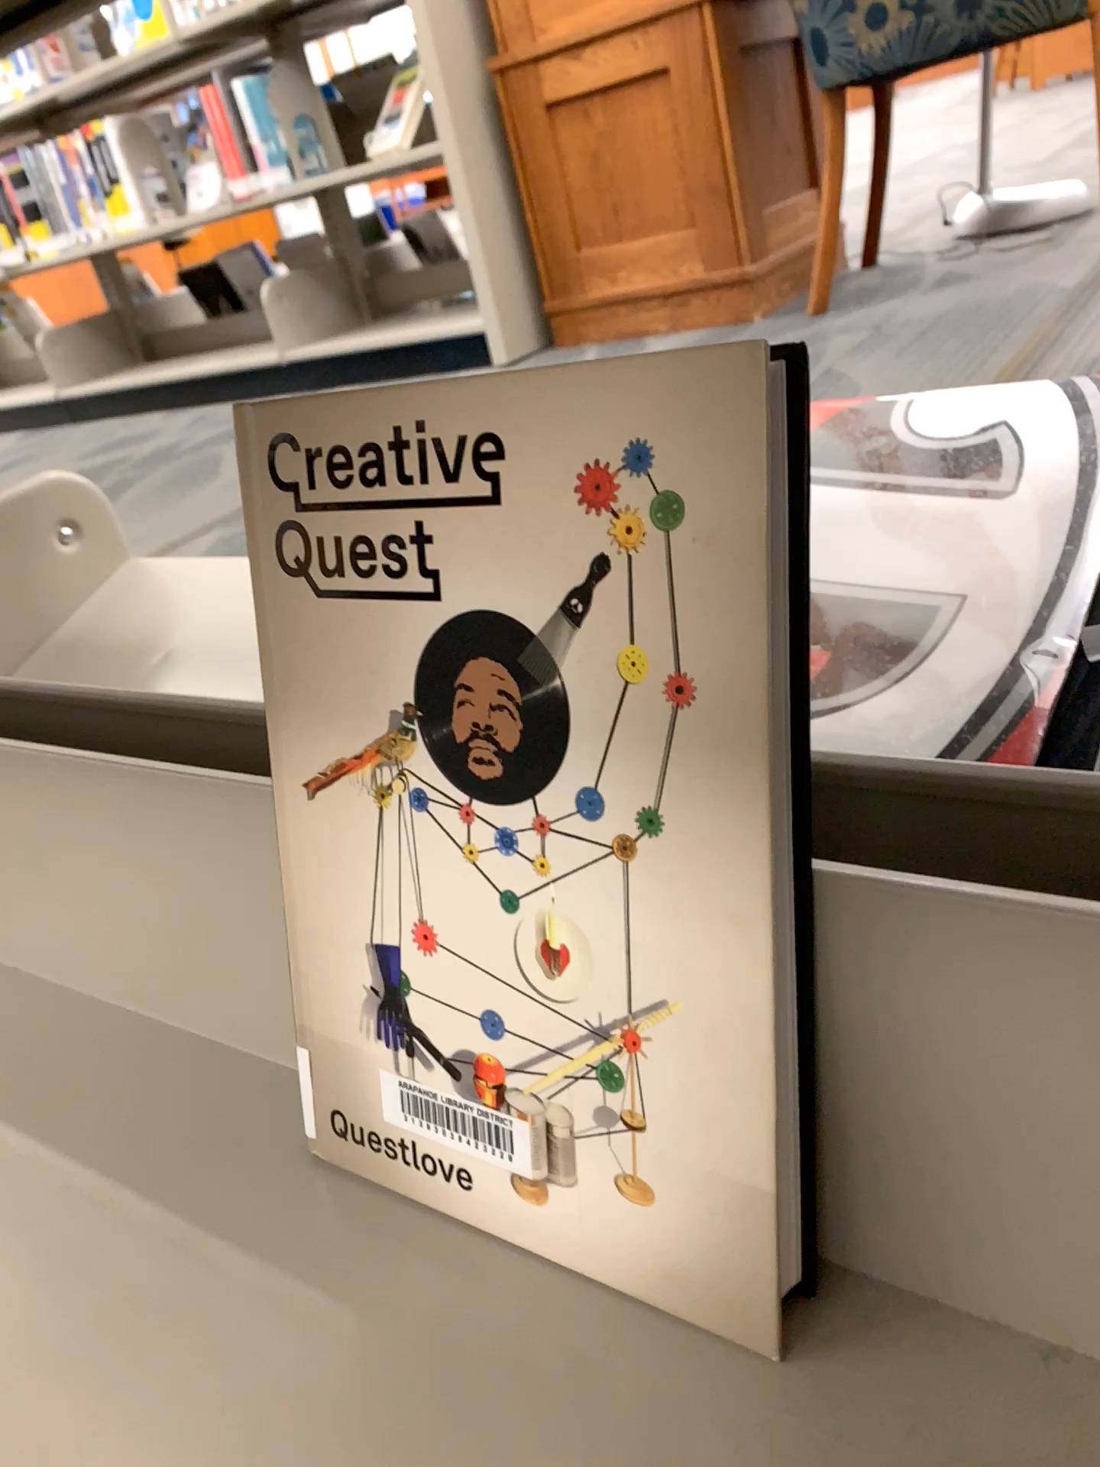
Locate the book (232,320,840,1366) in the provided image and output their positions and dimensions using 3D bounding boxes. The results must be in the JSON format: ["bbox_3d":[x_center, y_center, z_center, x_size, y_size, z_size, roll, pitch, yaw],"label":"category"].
[{"bbox_3d":[-0.009,0.022,0.293,0.160,0.223,0.031,6,13,36],"label":"book"}]
